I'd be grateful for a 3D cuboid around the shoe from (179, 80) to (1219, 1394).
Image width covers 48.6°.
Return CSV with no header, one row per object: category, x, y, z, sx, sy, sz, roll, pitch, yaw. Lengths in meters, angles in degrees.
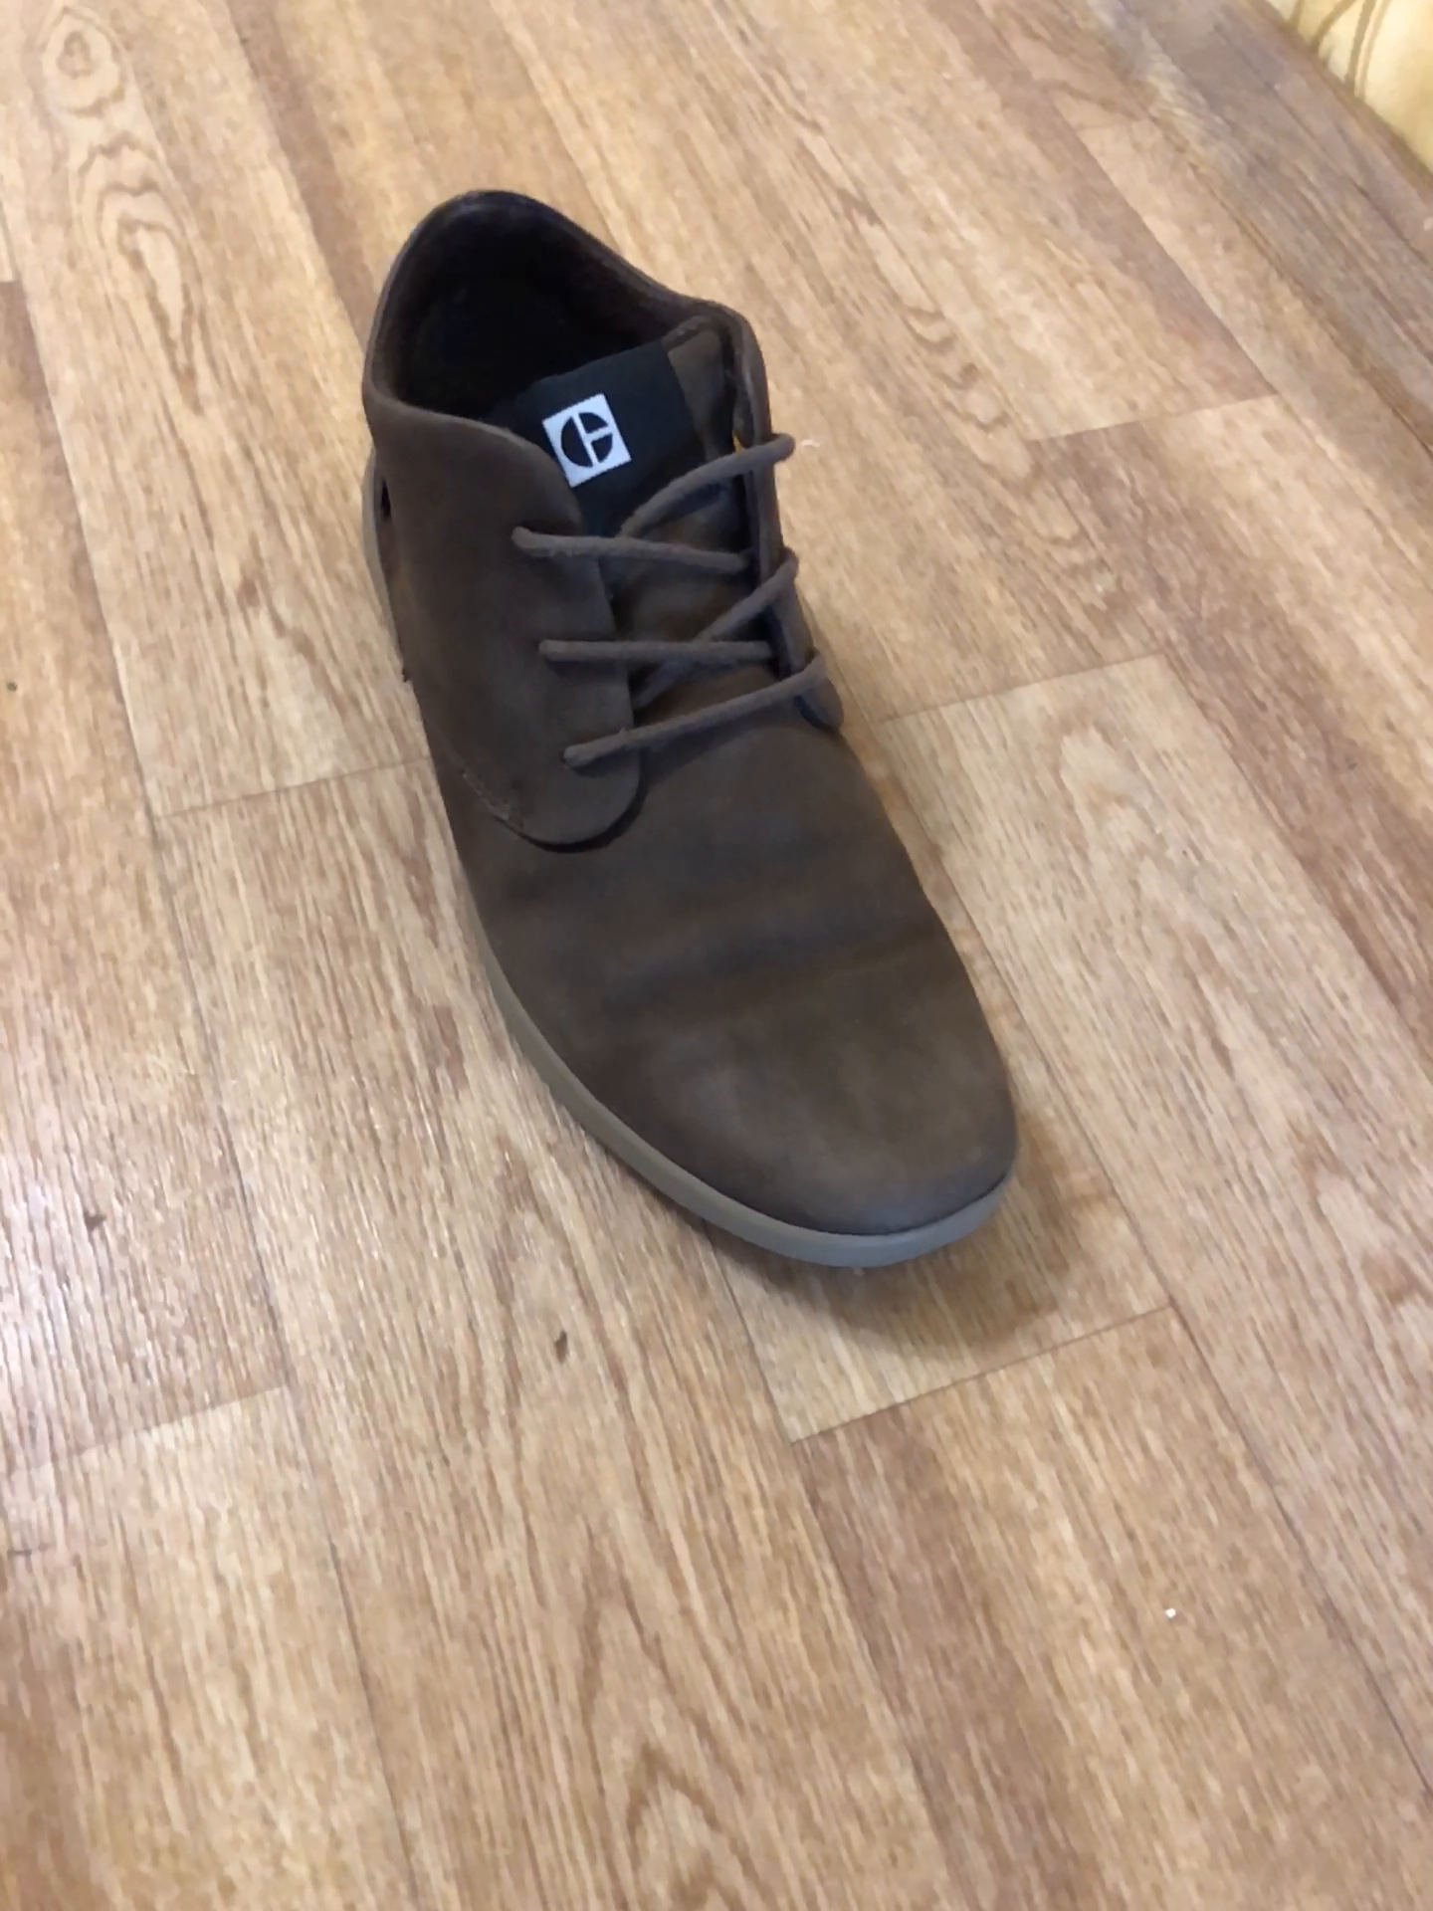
shoe,-0.023,-0.061,0.357,0.100,0.110,0.271,-19,62,-17
